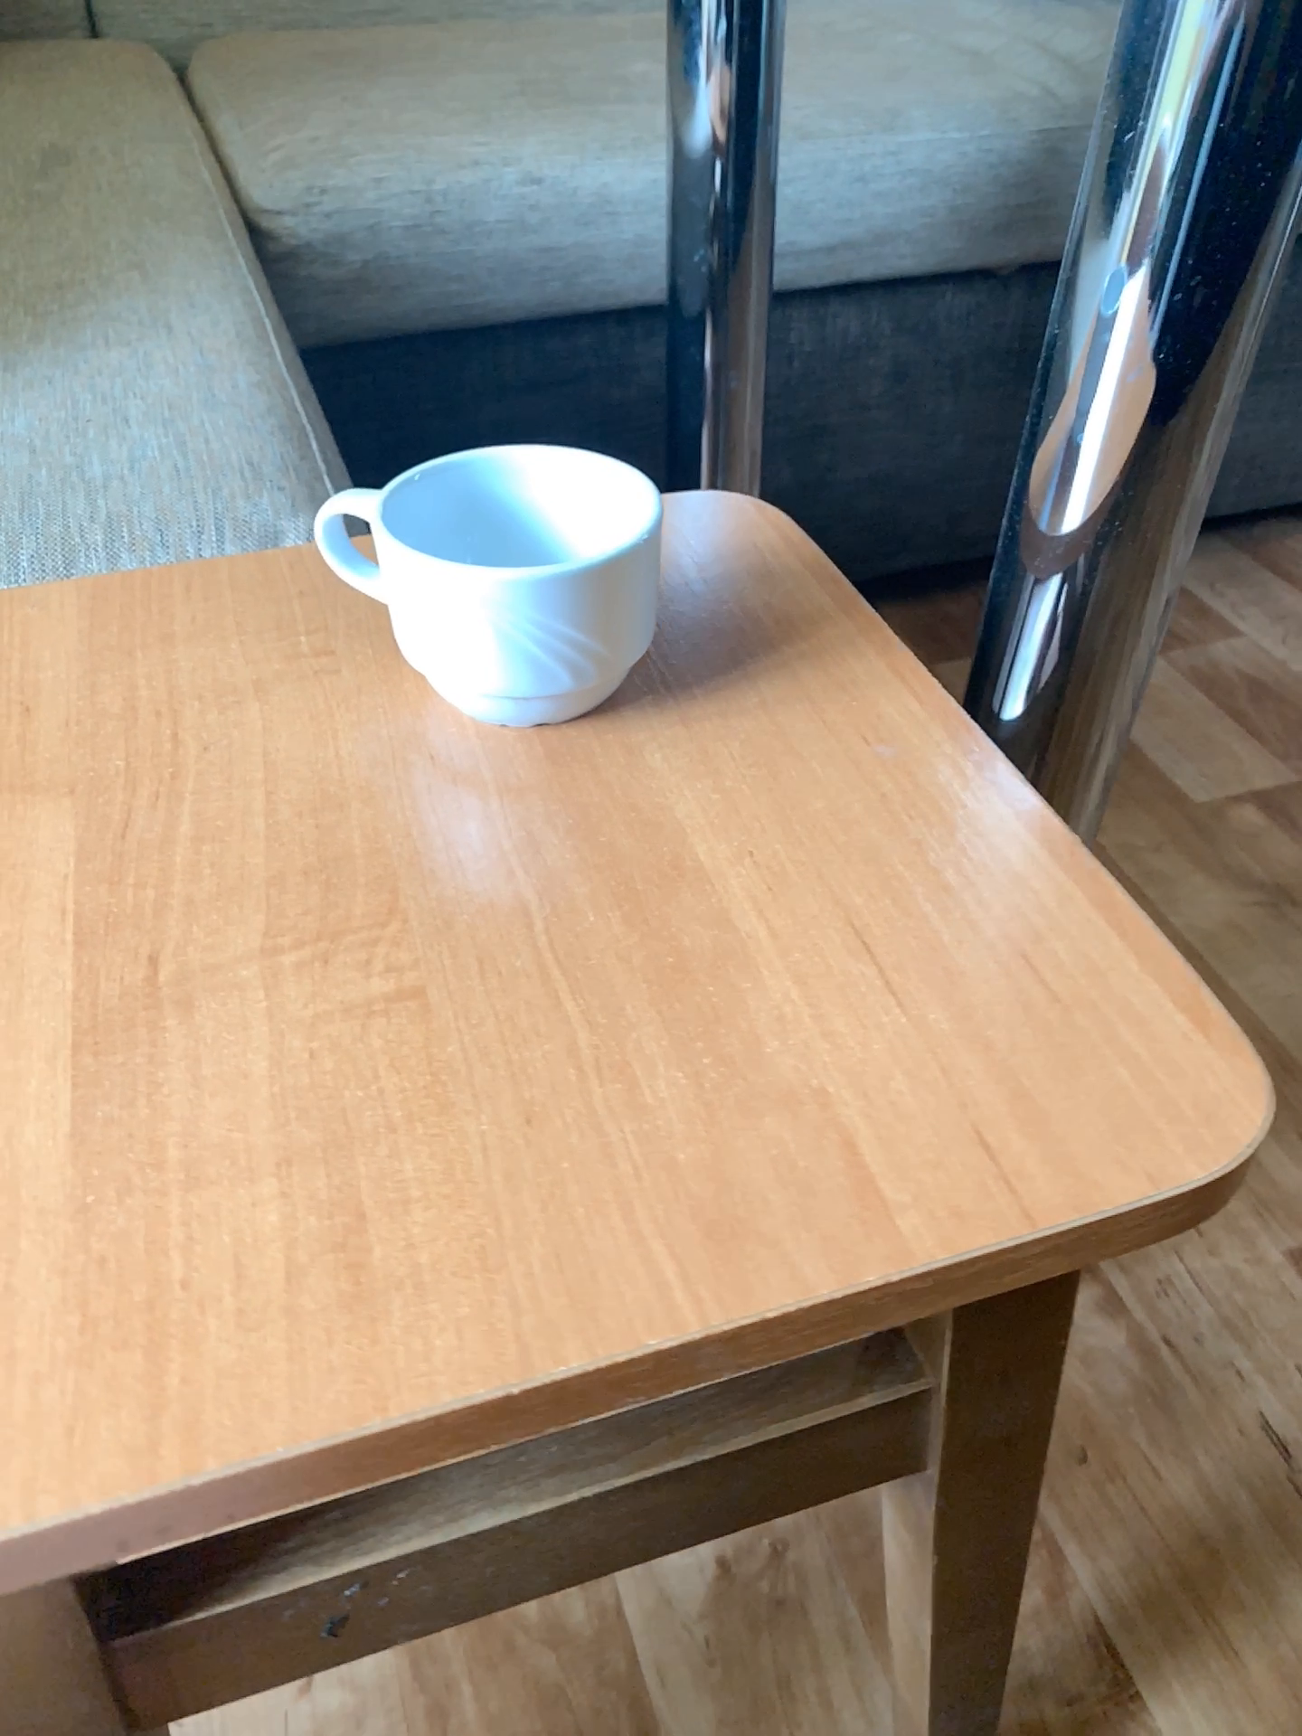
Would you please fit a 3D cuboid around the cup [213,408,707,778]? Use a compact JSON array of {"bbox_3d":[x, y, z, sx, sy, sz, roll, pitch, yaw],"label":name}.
[{"bbox_3d":[-0.046,-0.077,0.360,0.100,0.050,0.080,14,42,17],"label":"cup"}]
